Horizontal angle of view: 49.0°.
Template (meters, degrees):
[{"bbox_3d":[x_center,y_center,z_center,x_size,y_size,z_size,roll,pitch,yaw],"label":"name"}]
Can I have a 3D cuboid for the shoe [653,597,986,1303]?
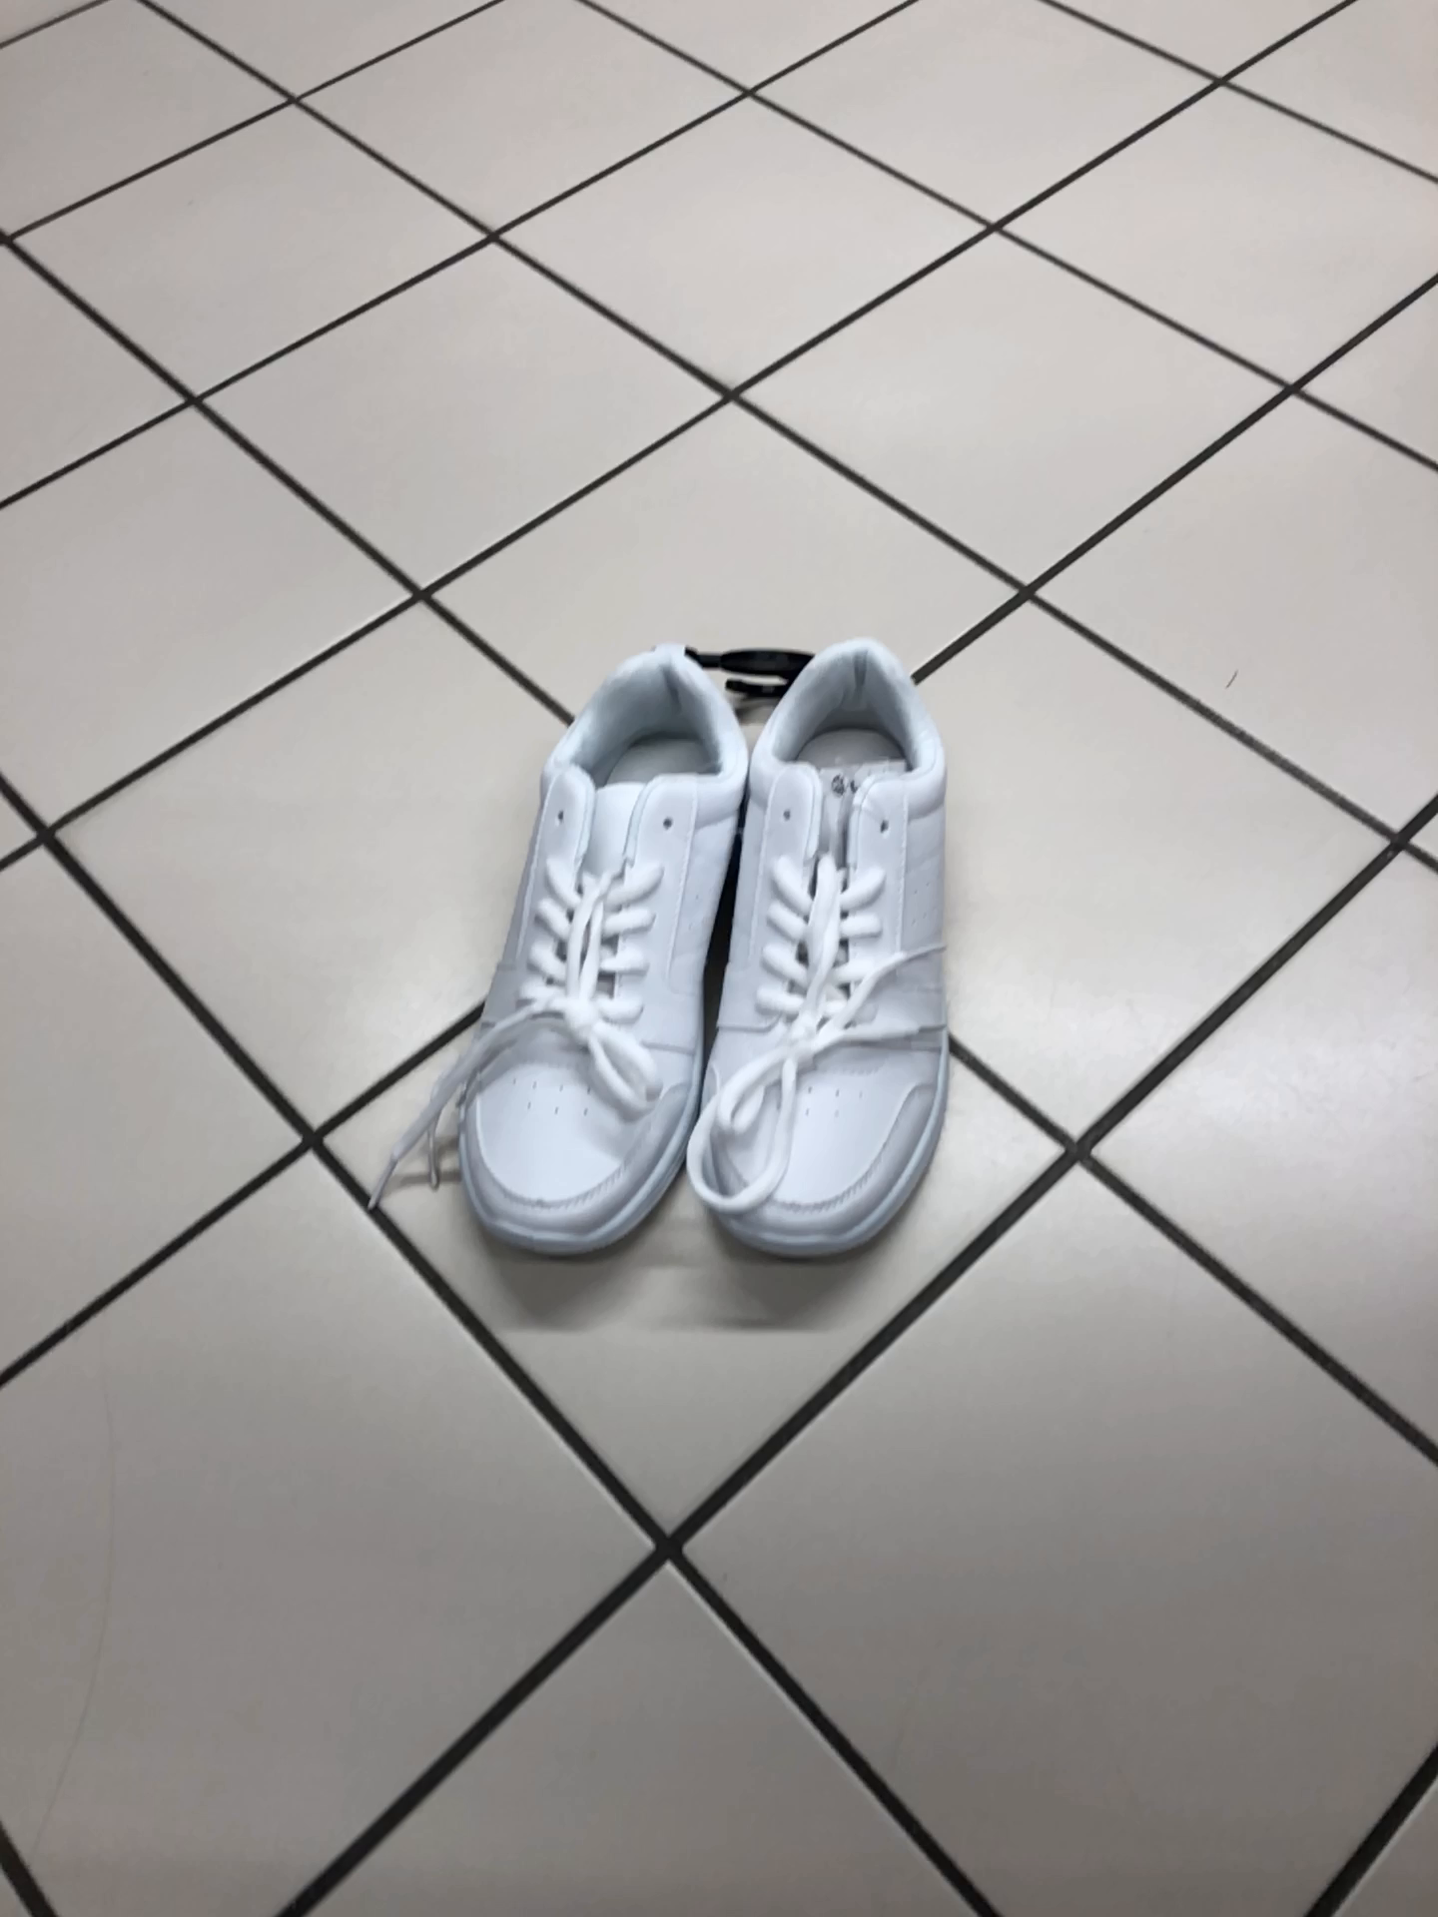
[{"bbox_3d":[0.042,-0.010,0.575,0.090,0.090,0.241,5,57,6],"label":"shoe"}]

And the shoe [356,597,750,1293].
[{"bbox_3d":[-0.049,-0.012,0.583,0.090,0.090,0.241,5,57,6],"label":"shoe"}]
